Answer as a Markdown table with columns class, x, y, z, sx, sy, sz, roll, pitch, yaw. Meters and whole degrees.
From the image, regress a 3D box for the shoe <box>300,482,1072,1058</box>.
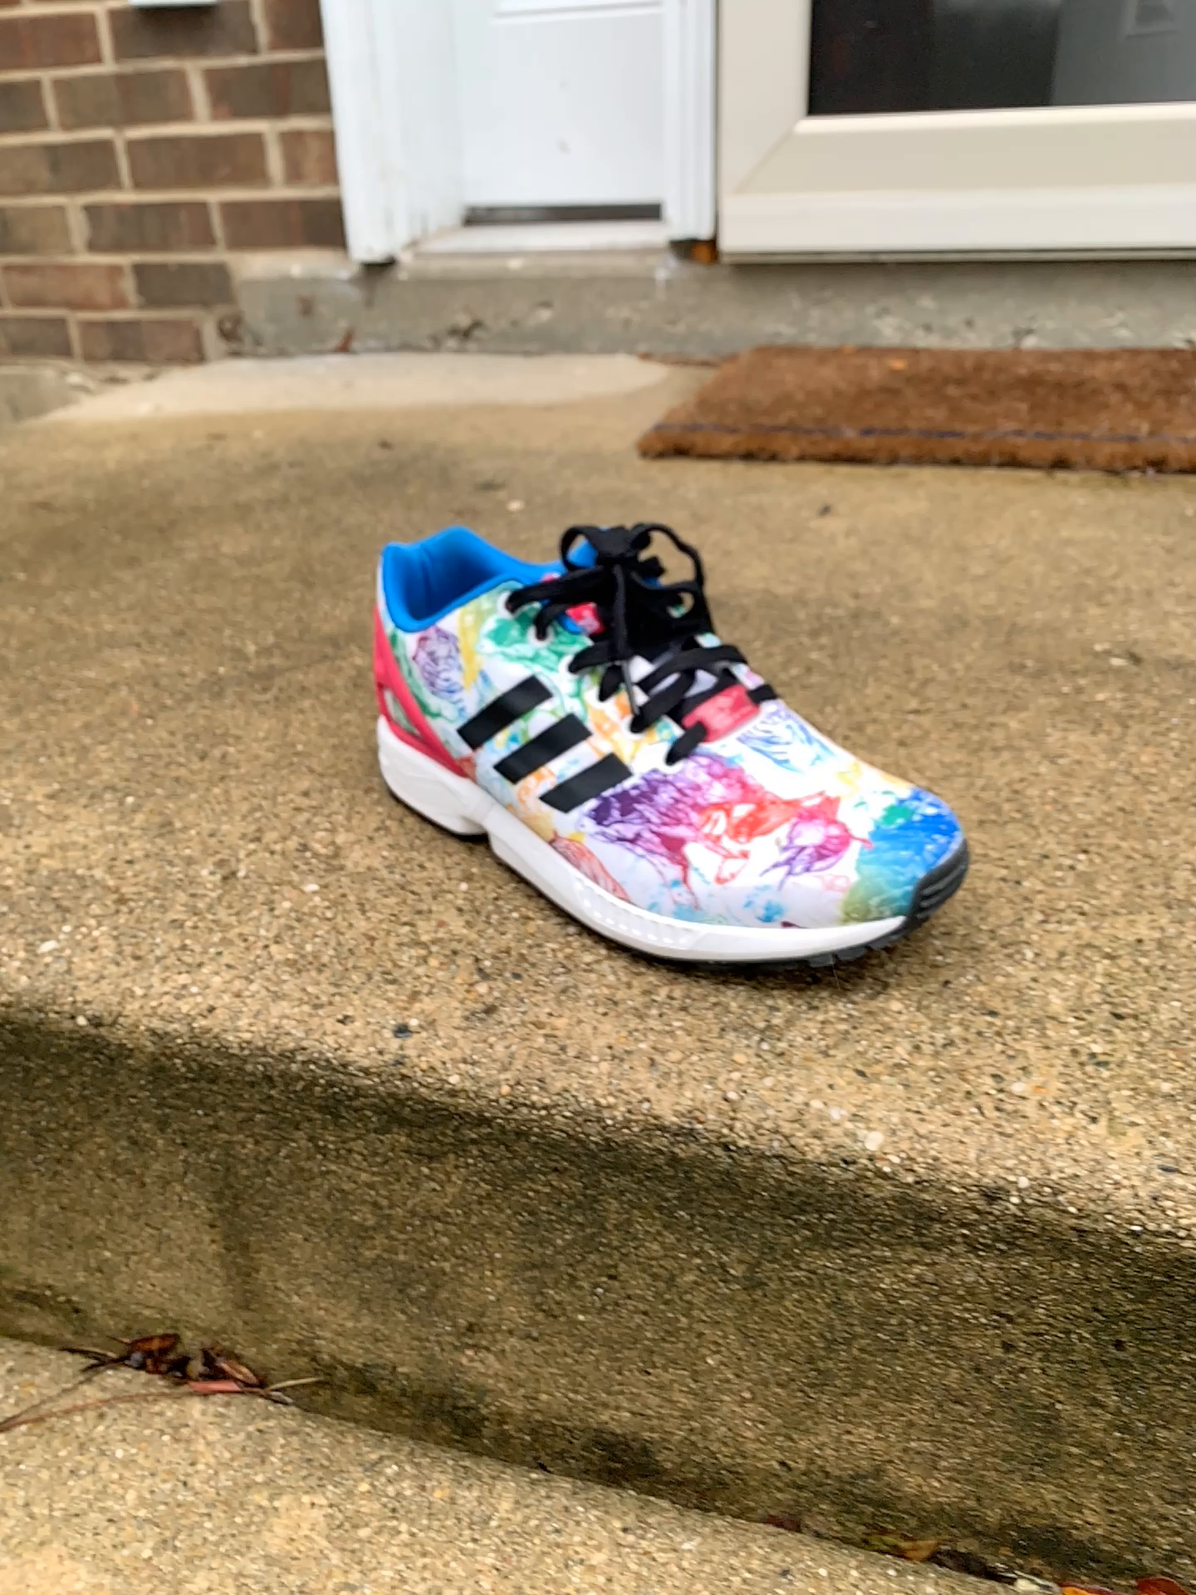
| class | x | y | z | sx | sy | sz | roll | pitch | yaw |
| --- | --- | --- | --- | --- | --- | --- | --- | --- | --- |
| shoe | 0.017 | -0.030 | 0.439 | 0.246 | 0.104 | 0.110 | 23 | 37 | 39 |
